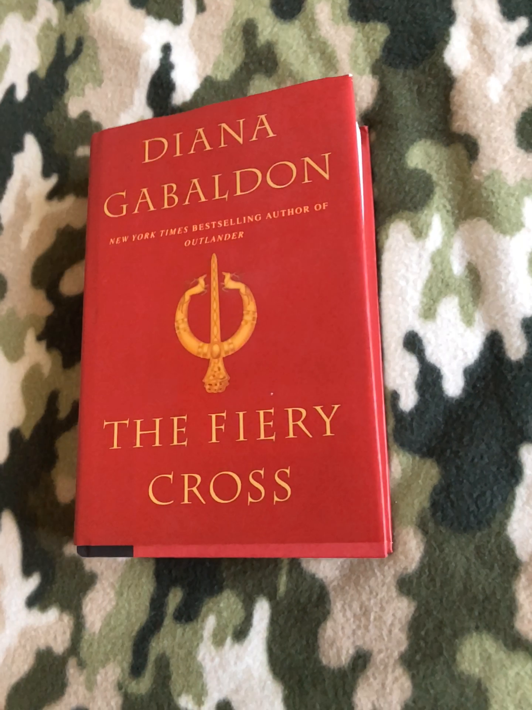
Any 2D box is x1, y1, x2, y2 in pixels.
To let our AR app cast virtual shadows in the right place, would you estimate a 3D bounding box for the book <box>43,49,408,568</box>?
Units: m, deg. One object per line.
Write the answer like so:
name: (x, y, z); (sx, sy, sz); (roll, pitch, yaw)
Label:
book: (-0.021, -0.019, 0.325); (0.170, 0.070, 0.250); (-5, 76, 14)
